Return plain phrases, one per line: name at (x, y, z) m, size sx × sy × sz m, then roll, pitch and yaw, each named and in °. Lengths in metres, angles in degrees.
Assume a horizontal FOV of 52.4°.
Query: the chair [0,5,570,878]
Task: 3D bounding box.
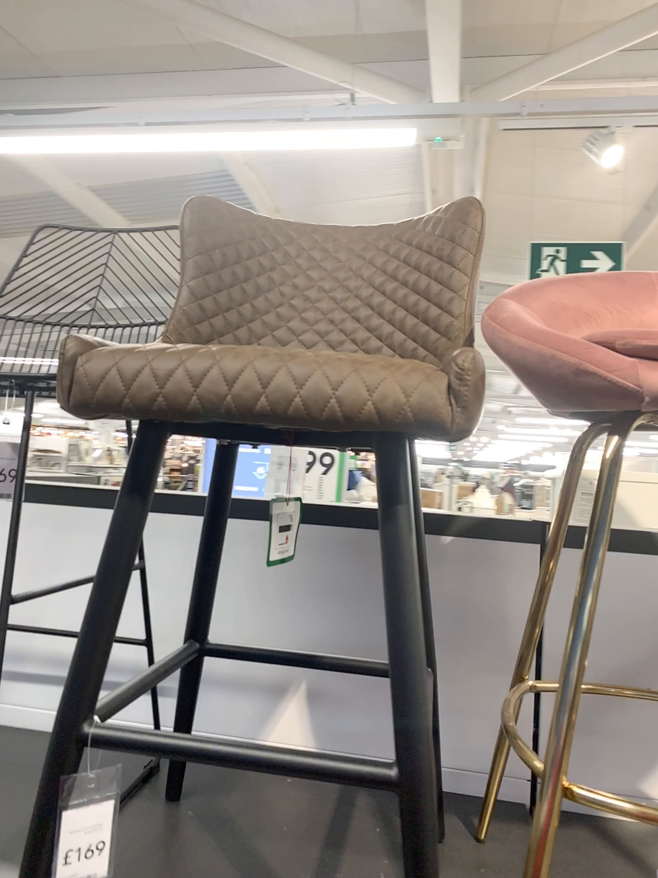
chair at (-0.051, 0.071, 0.892) m, size 0.535 × 0.997 × 0.465 m, roll 4°, pitch 0°, yaw 3°
